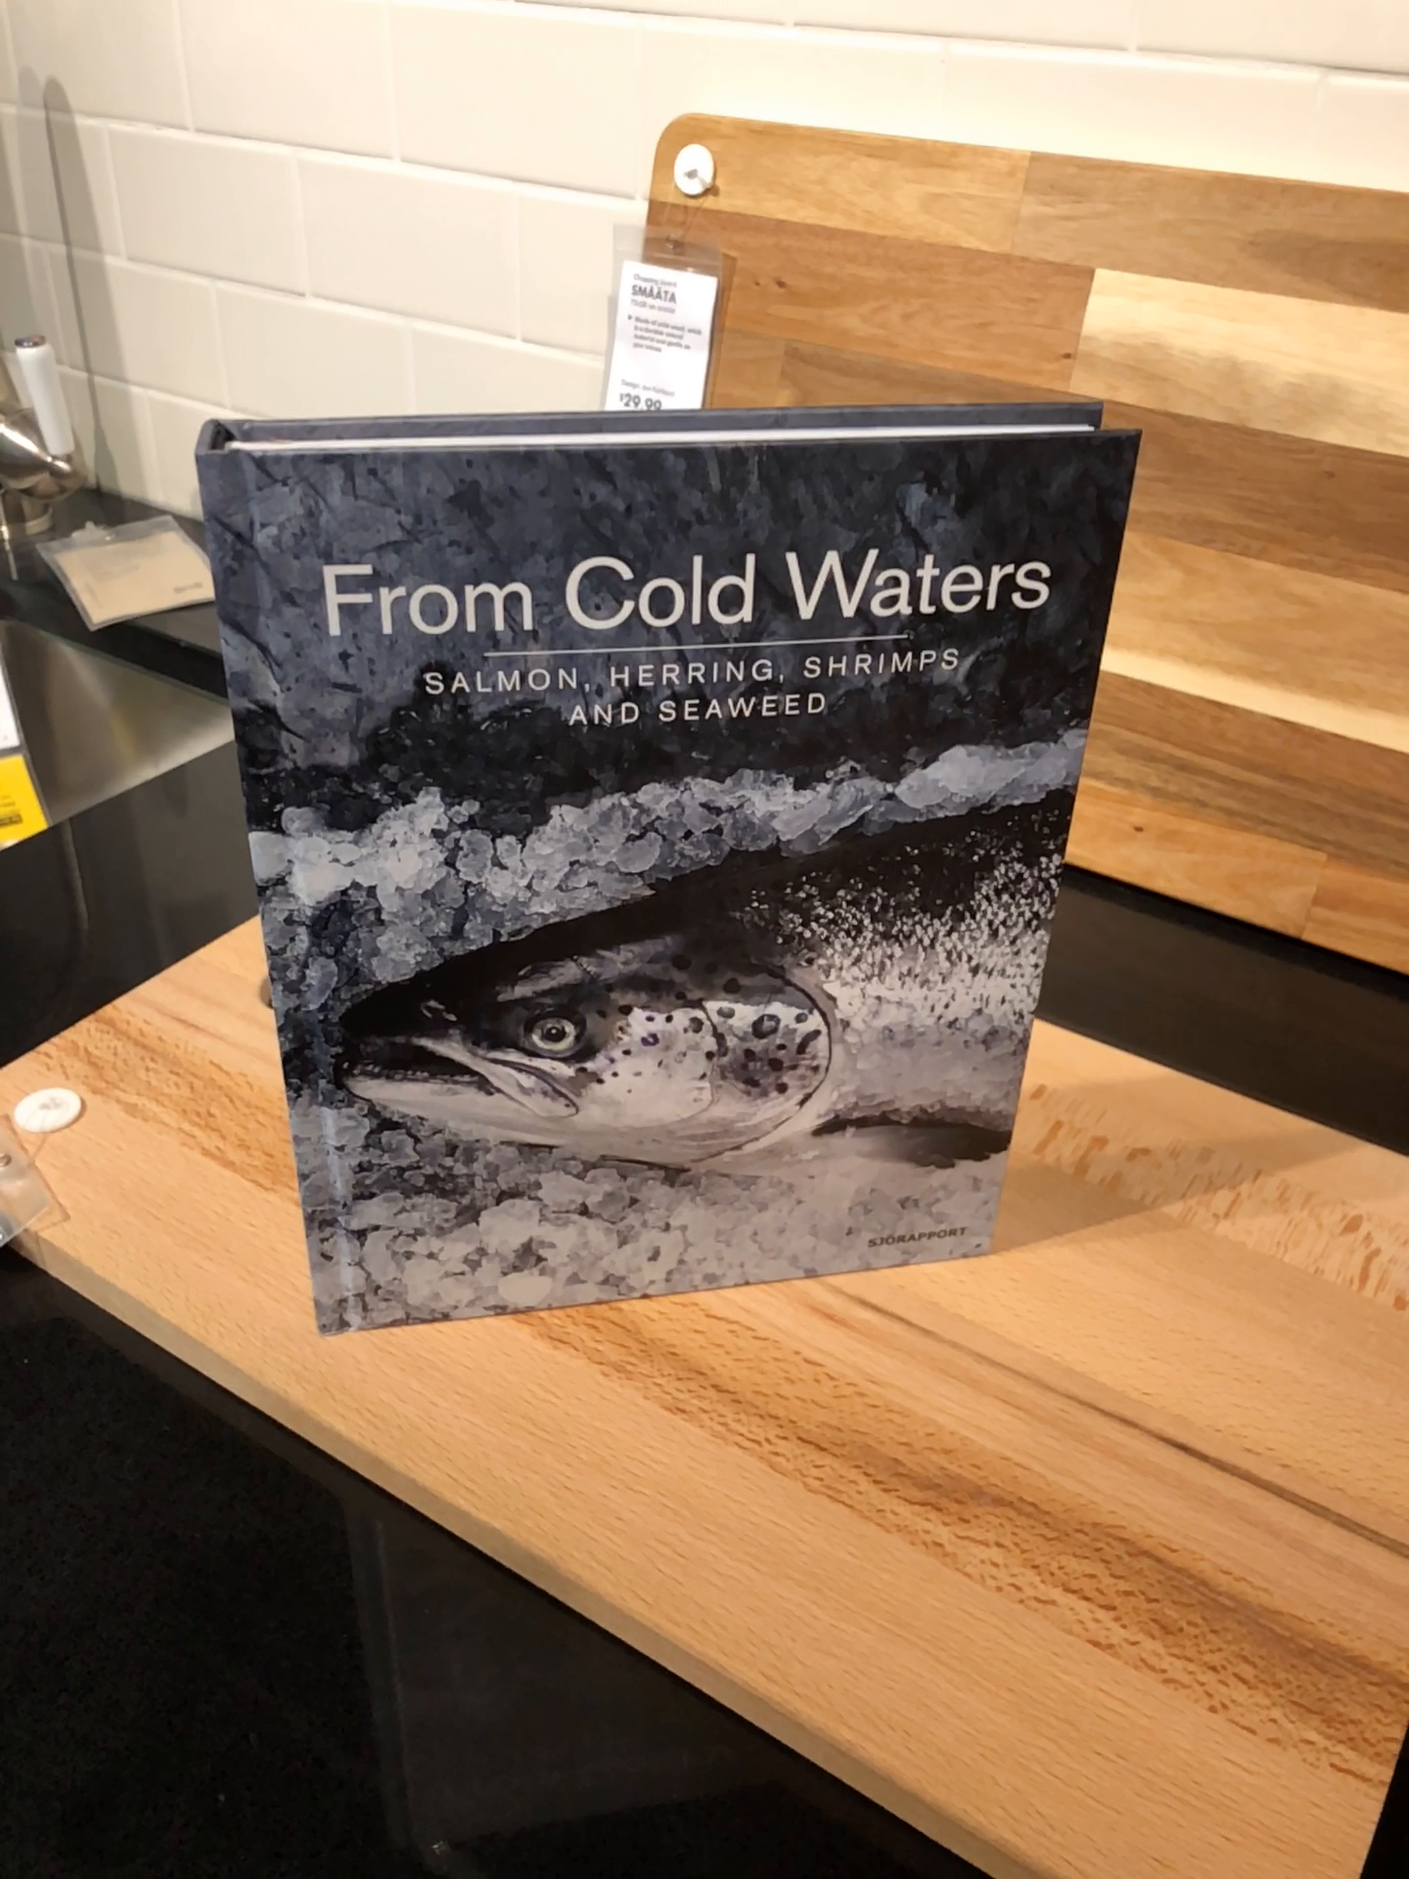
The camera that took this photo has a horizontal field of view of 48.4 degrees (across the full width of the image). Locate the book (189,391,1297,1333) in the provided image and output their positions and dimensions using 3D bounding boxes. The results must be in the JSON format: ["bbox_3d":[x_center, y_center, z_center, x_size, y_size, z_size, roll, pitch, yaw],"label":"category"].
[{"bbox_3d":[0.007,-0.010,0.364,0.213,0.219,0.029,-4,33,-10],"label":"book"}]
